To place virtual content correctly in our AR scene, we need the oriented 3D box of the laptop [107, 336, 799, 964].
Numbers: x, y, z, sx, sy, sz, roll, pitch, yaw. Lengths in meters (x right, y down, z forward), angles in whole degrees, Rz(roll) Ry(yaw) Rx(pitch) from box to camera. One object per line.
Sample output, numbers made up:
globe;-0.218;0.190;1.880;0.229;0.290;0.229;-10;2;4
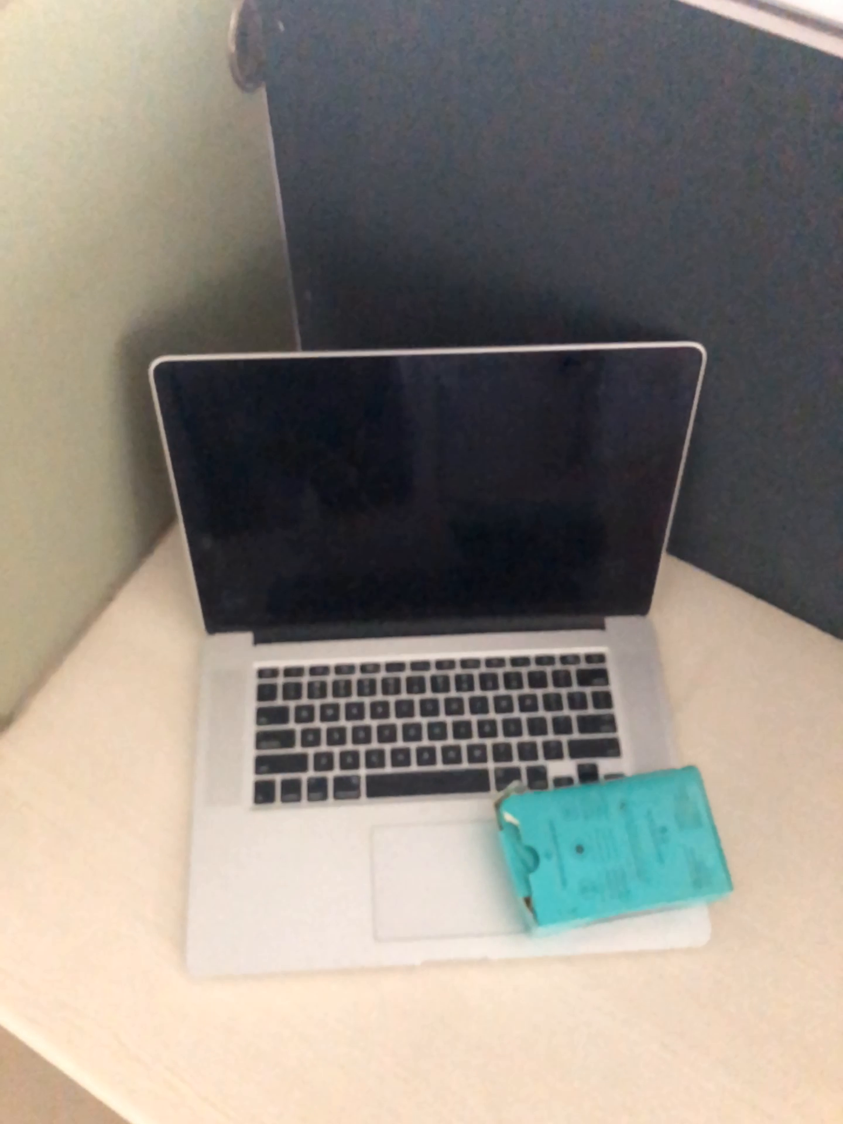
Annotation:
laptop;0.007;0.060;0.607;0.328;0.200;0.339;-2;64;-2
